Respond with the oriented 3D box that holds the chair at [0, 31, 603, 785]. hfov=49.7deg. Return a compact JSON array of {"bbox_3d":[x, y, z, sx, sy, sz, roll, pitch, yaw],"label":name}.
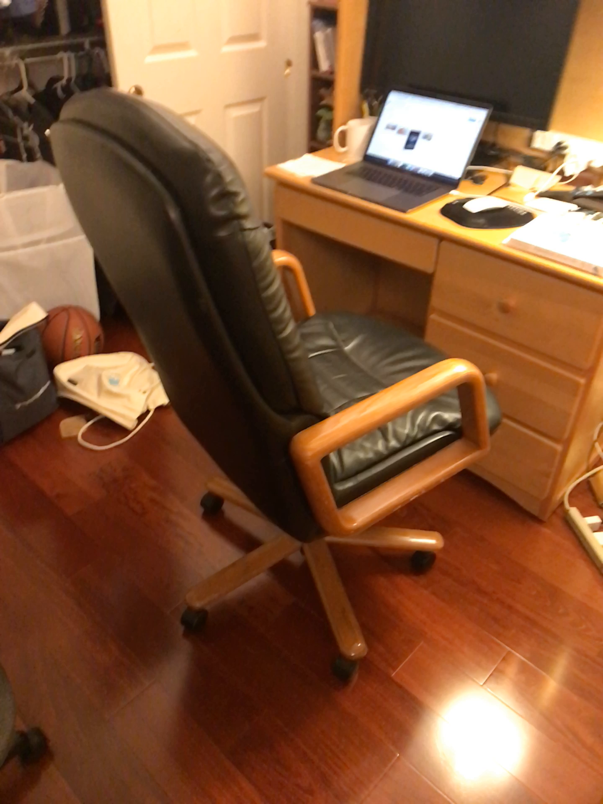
[{"bbox_3d":[-0.063,-0.097,1.466,0.853,1.141,0.994,-20,42,-27],"label":"chair"}]
